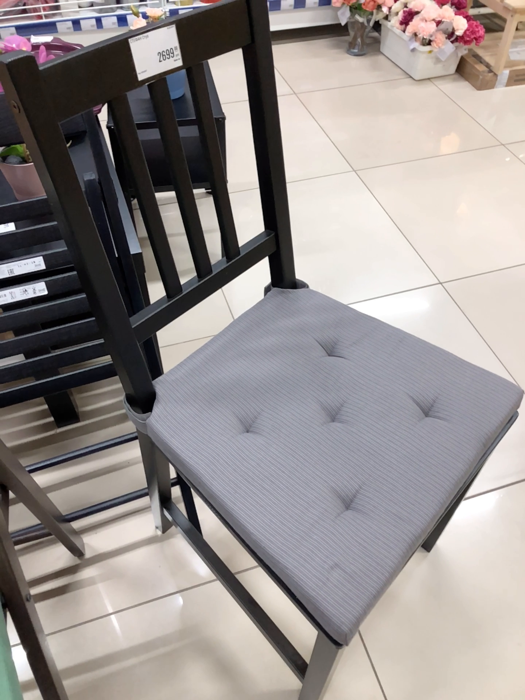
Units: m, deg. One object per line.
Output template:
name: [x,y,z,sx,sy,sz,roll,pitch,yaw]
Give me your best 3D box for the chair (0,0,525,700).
chair: [0.055,0.082,0.799,0.491,0.894,0.412,36,57,26]
